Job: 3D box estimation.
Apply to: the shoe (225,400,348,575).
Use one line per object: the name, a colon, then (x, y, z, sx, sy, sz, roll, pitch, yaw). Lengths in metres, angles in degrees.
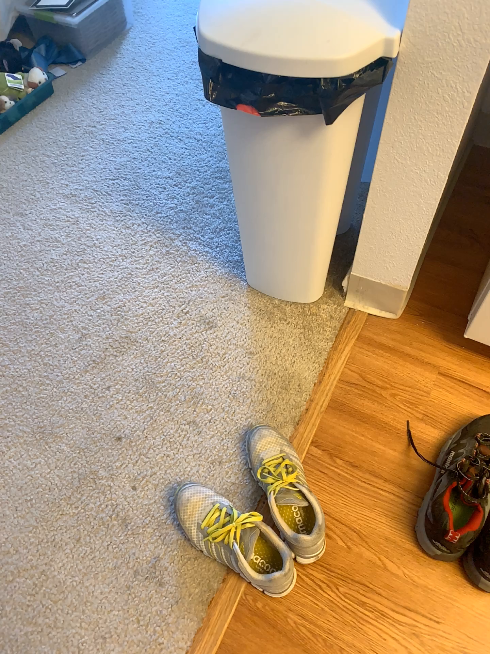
shoe: (0.067, 0.270, 0.860, 0.090, 0.090, 0.261, -27, 58, -6)

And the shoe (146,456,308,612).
shoe: (-0.030, 0.335, 0.810, 0.251, 0.130, 0.080, 31, 62, 21)
